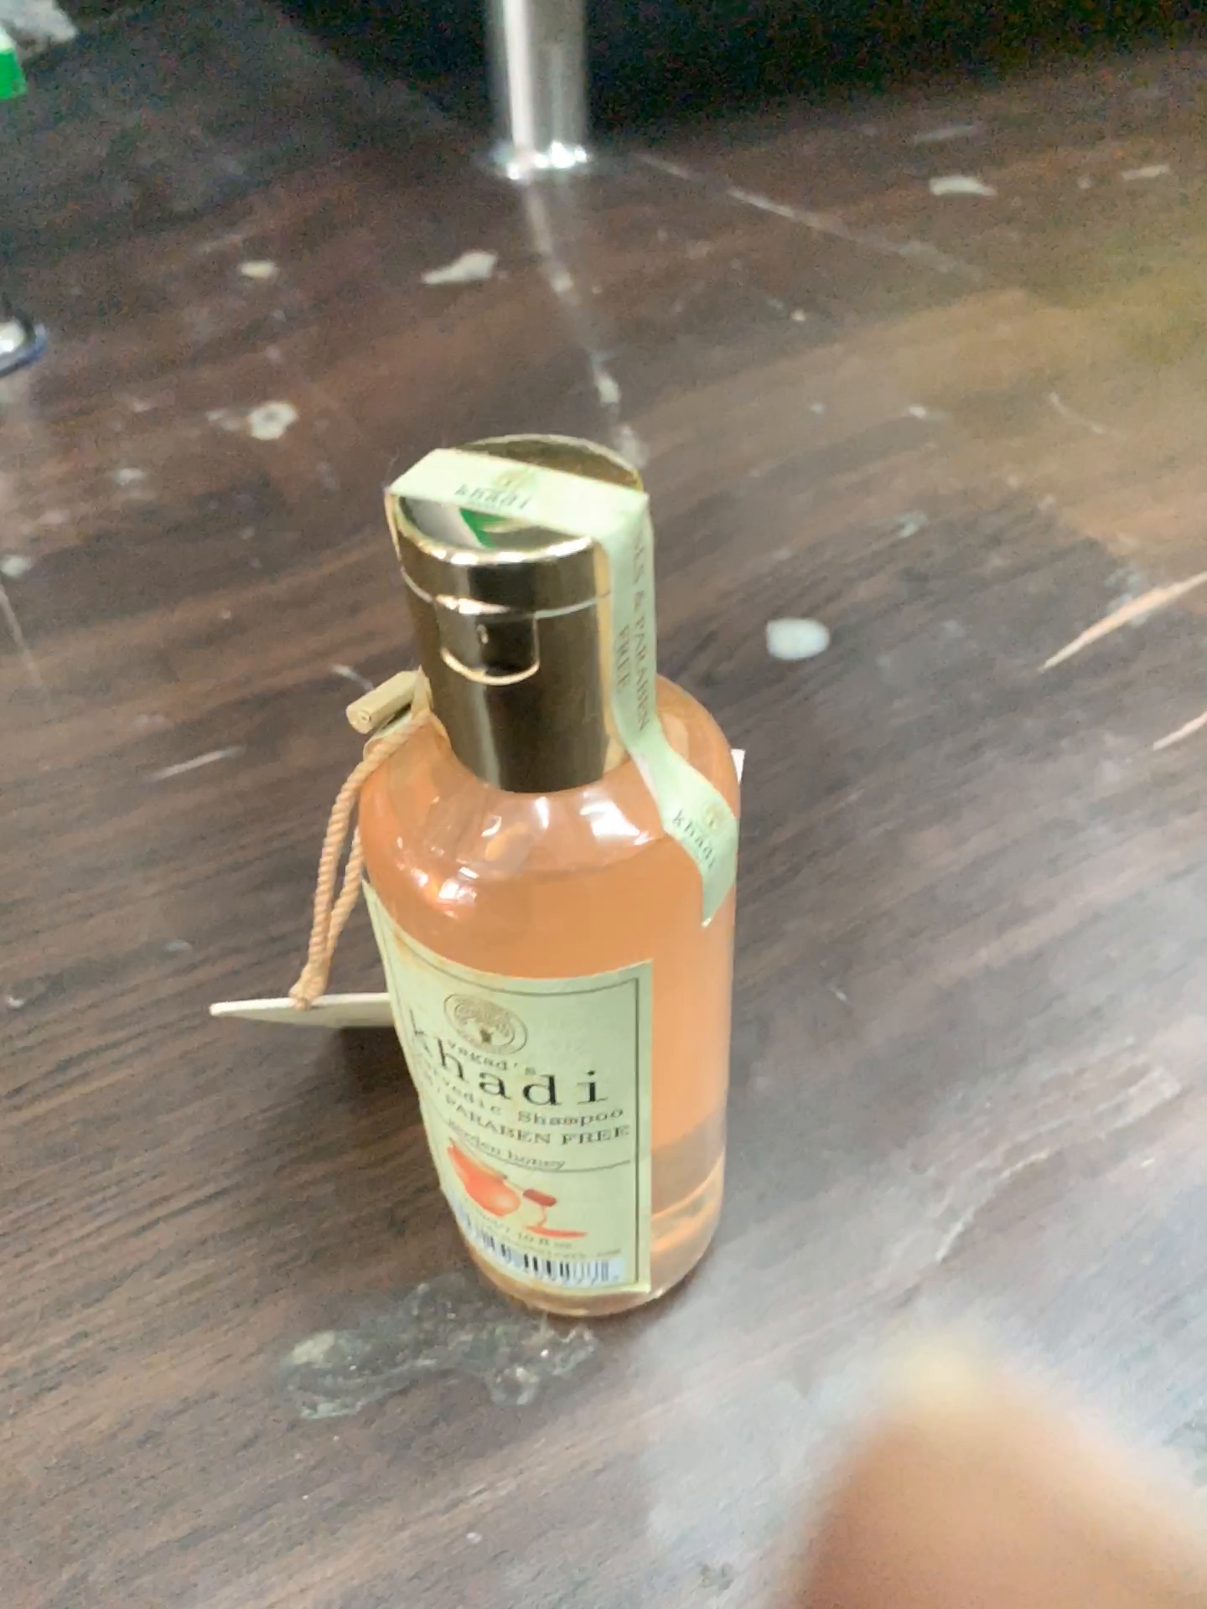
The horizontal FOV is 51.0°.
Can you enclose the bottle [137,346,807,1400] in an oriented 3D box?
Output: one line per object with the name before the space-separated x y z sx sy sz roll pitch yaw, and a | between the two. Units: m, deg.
bottle | -0.008 0.021 0.180 0.050 0.149 0.050 -1 44 1
